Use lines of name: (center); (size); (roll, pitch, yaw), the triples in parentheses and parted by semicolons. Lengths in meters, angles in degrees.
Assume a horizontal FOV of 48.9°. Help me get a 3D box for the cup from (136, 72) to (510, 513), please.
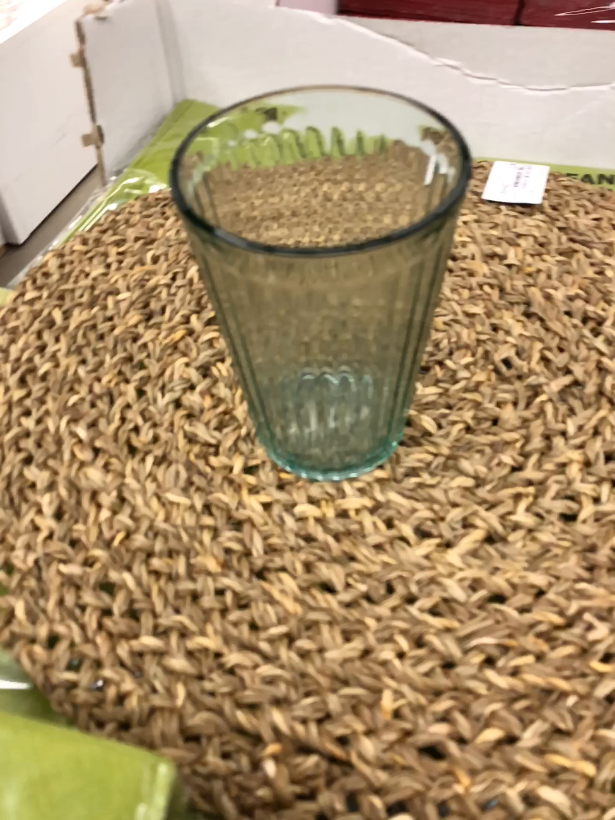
cup: (0.002, -0.034, 0.208); (0.080, 0.100, 0.080); (-1, 47, 1)
